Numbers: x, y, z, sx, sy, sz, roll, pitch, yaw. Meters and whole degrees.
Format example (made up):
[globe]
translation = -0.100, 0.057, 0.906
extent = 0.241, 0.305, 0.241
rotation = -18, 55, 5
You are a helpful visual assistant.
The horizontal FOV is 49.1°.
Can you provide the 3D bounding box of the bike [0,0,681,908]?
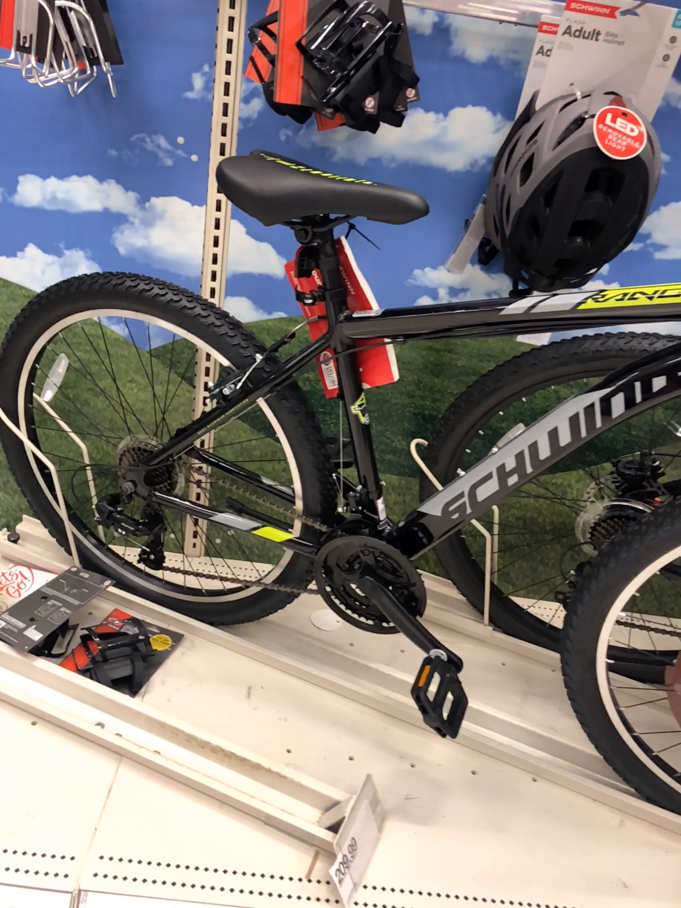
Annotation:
[bike]
translation = 0.139, 0.093, 0.953
extent = 1.652, 1.003, 0.601
rotation = 20, 27, 17
